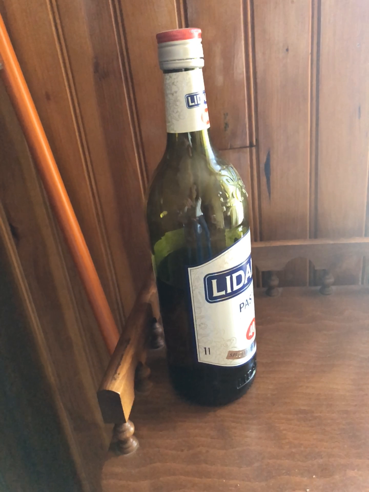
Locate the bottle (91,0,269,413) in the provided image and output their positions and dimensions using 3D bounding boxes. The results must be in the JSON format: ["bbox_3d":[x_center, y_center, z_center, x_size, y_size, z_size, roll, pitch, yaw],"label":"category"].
[{"bbox_3d":[0.014,-0.019,0.331,0.080,0.298,0.091,6,27,26],"label":"bottle"}]
